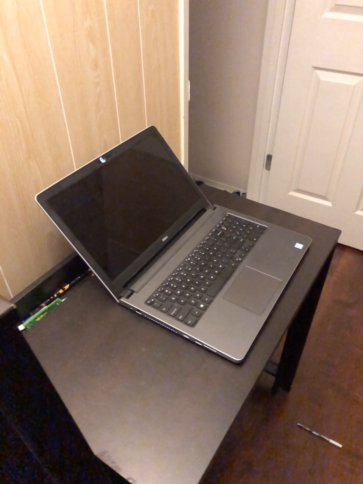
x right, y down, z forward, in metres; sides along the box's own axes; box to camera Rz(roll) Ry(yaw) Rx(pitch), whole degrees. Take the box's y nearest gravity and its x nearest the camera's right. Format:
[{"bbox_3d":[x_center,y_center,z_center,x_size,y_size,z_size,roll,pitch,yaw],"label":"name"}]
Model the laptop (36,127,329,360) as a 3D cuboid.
[{"bbox_3d":[0.013,-0.043,0.806,0.427,0.172,0.369,21,44,25],"label":"laptop"}]
